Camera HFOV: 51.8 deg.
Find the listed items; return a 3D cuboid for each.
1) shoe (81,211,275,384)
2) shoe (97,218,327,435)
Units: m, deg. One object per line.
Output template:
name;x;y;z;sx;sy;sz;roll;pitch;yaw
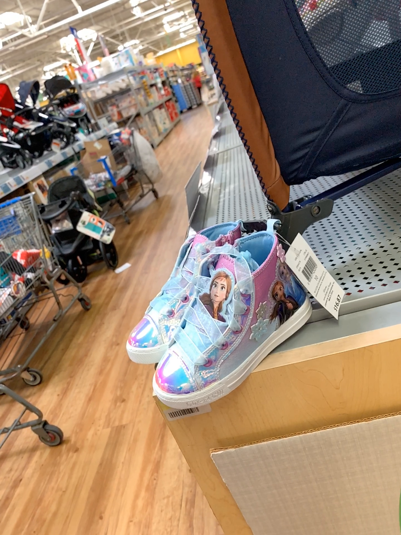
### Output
shoe;-0.022;0.026;0.473;0.182;0.102;0.080;-30;25;-19
shoe;0.015;0.047;0.400;0.182;0.102;0.090;-30;30;-18
